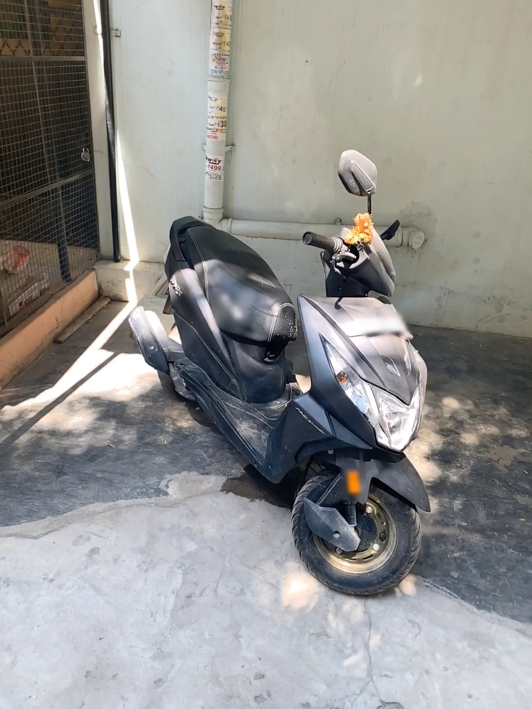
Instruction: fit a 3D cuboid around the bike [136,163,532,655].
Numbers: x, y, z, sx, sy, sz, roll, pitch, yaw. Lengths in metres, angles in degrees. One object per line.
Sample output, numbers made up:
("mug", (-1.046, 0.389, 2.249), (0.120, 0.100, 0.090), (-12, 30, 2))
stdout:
("bike", (0.075, 0.072, 2.202), (0.503, 1.278, 1.513), (-16, 36, -34))
